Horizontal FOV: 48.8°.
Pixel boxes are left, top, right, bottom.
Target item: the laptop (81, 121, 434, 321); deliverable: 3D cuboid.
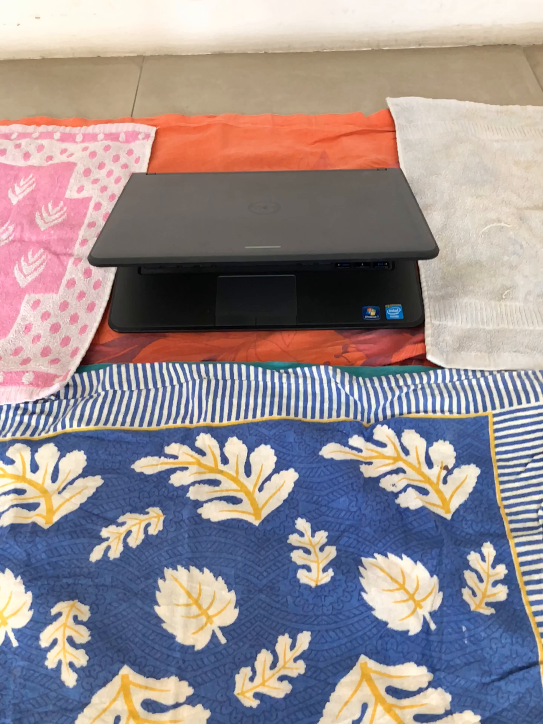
[{"bbox_3d":[-0.012,-0.156,0.634,0.314,0.078,0.228,-1,52,0],"label":"laptop"}]
